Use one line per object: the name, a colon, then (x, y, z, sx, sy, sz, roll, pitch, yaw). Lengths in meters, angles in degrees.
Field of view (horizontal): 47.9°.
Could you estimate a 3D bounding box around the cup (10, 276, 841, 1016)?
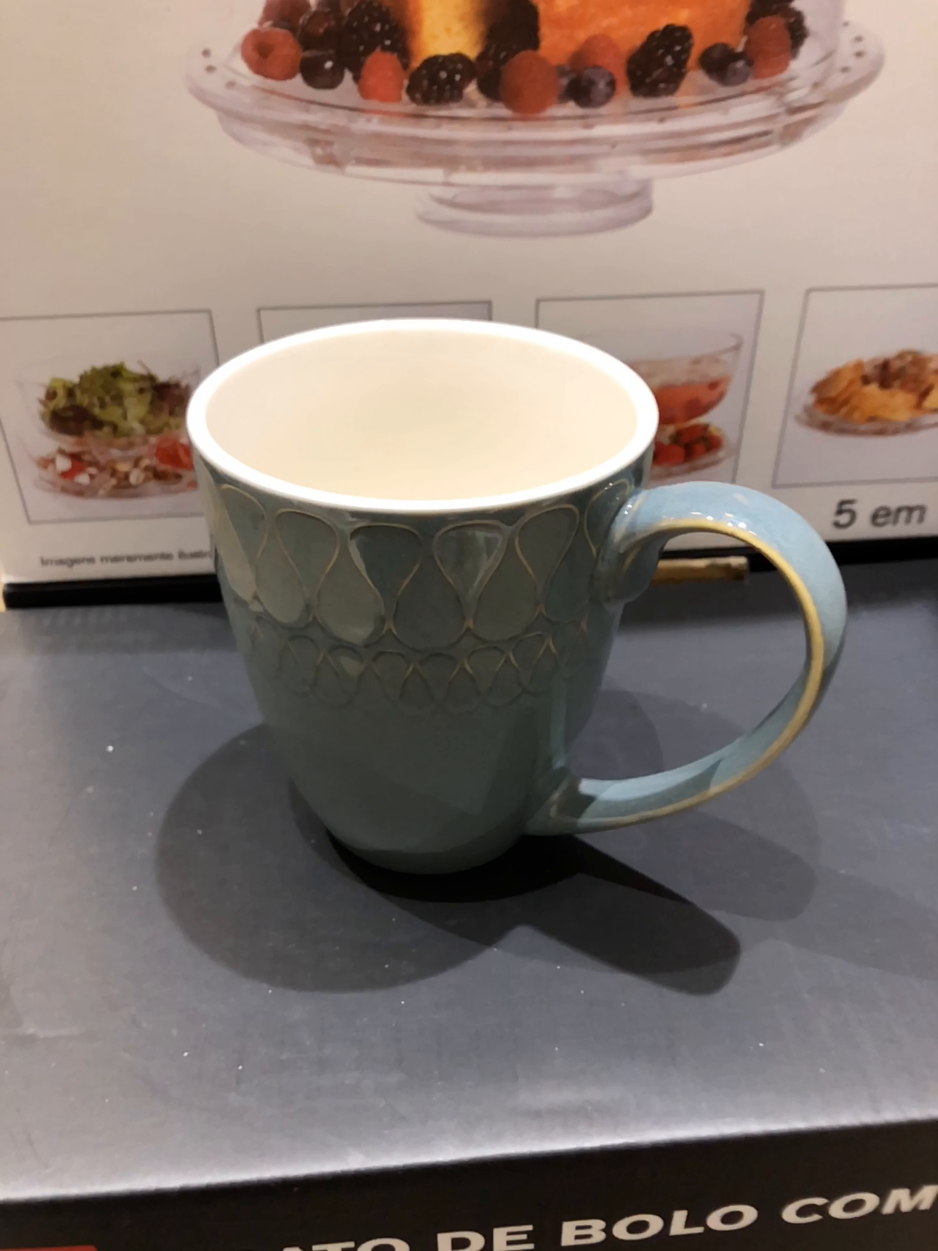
cup: (-0.001, -0.003, 0.226, 0.130, 0.099, 0.091, 12, 39, 16)
